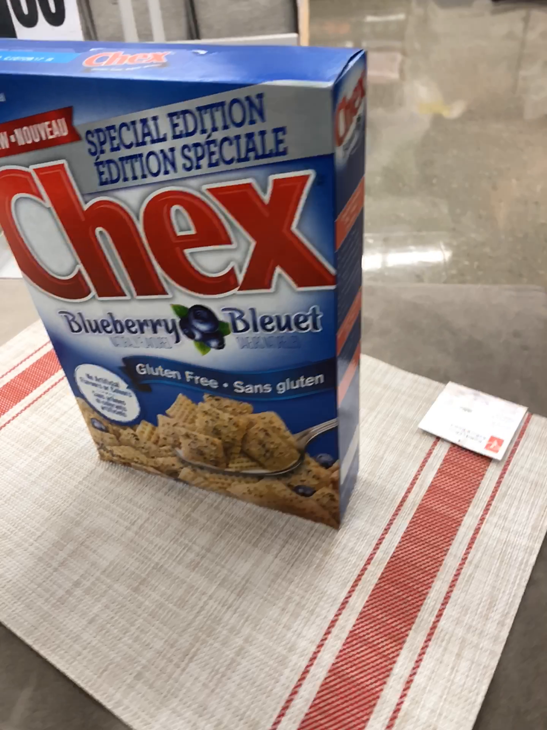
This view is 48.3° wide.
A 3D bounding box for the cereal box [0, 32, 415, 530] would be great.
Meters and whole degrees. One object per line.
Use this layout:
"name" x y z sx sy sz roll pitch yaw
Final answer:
"cereal box" -0.038 -0.032 0.339 0.200 0.259 0.050 12 44 19
